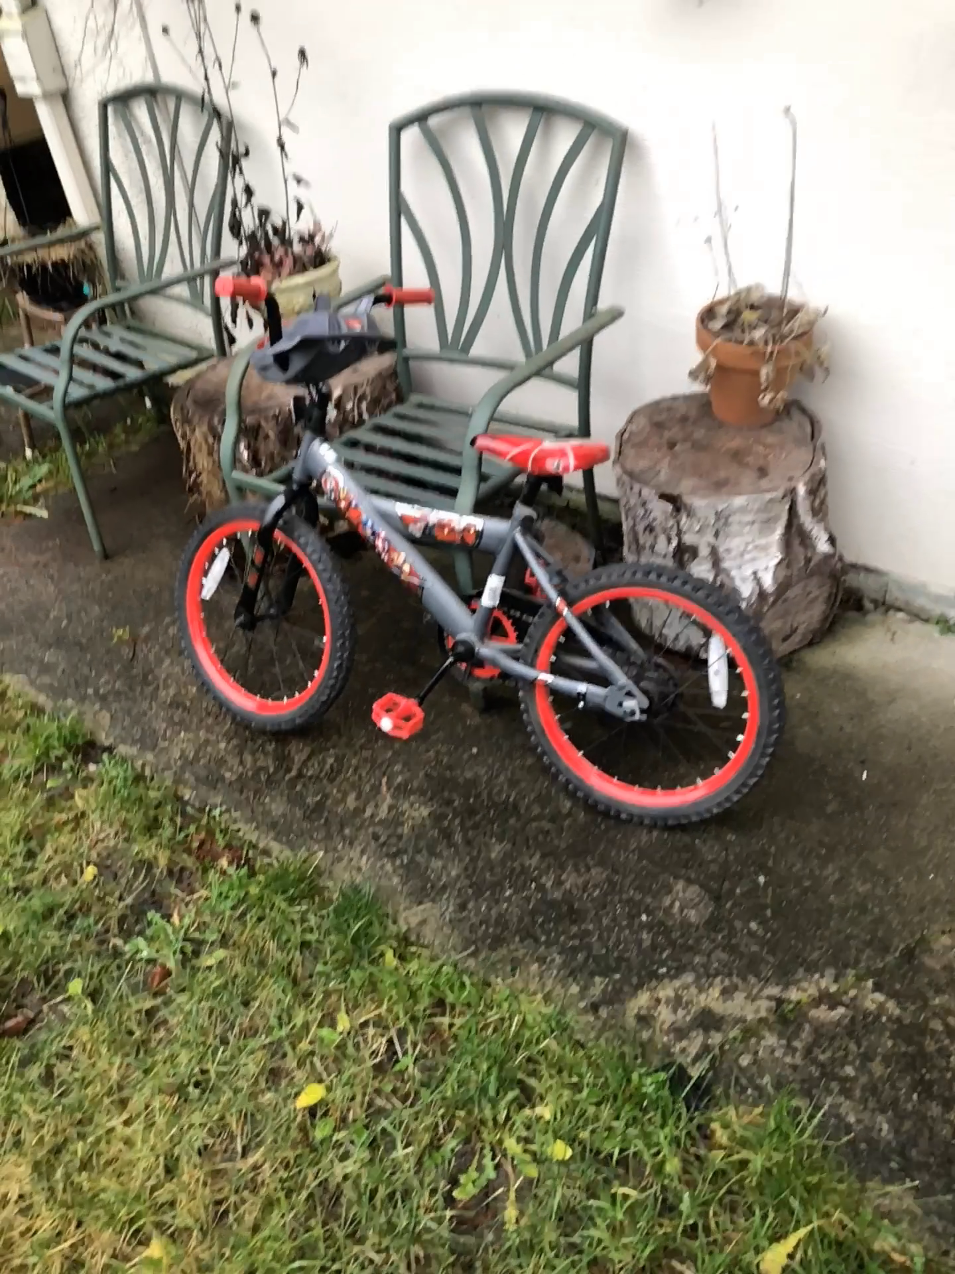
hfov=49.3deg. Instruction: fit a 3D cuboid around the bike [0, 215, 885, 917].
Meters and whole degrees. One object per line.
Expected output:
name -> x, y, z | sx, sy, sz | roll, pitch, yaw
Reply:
bike -> -0.046, -0.189, 1.802 | 1.201, 0.853, 0.603 | 12, 42, 27
